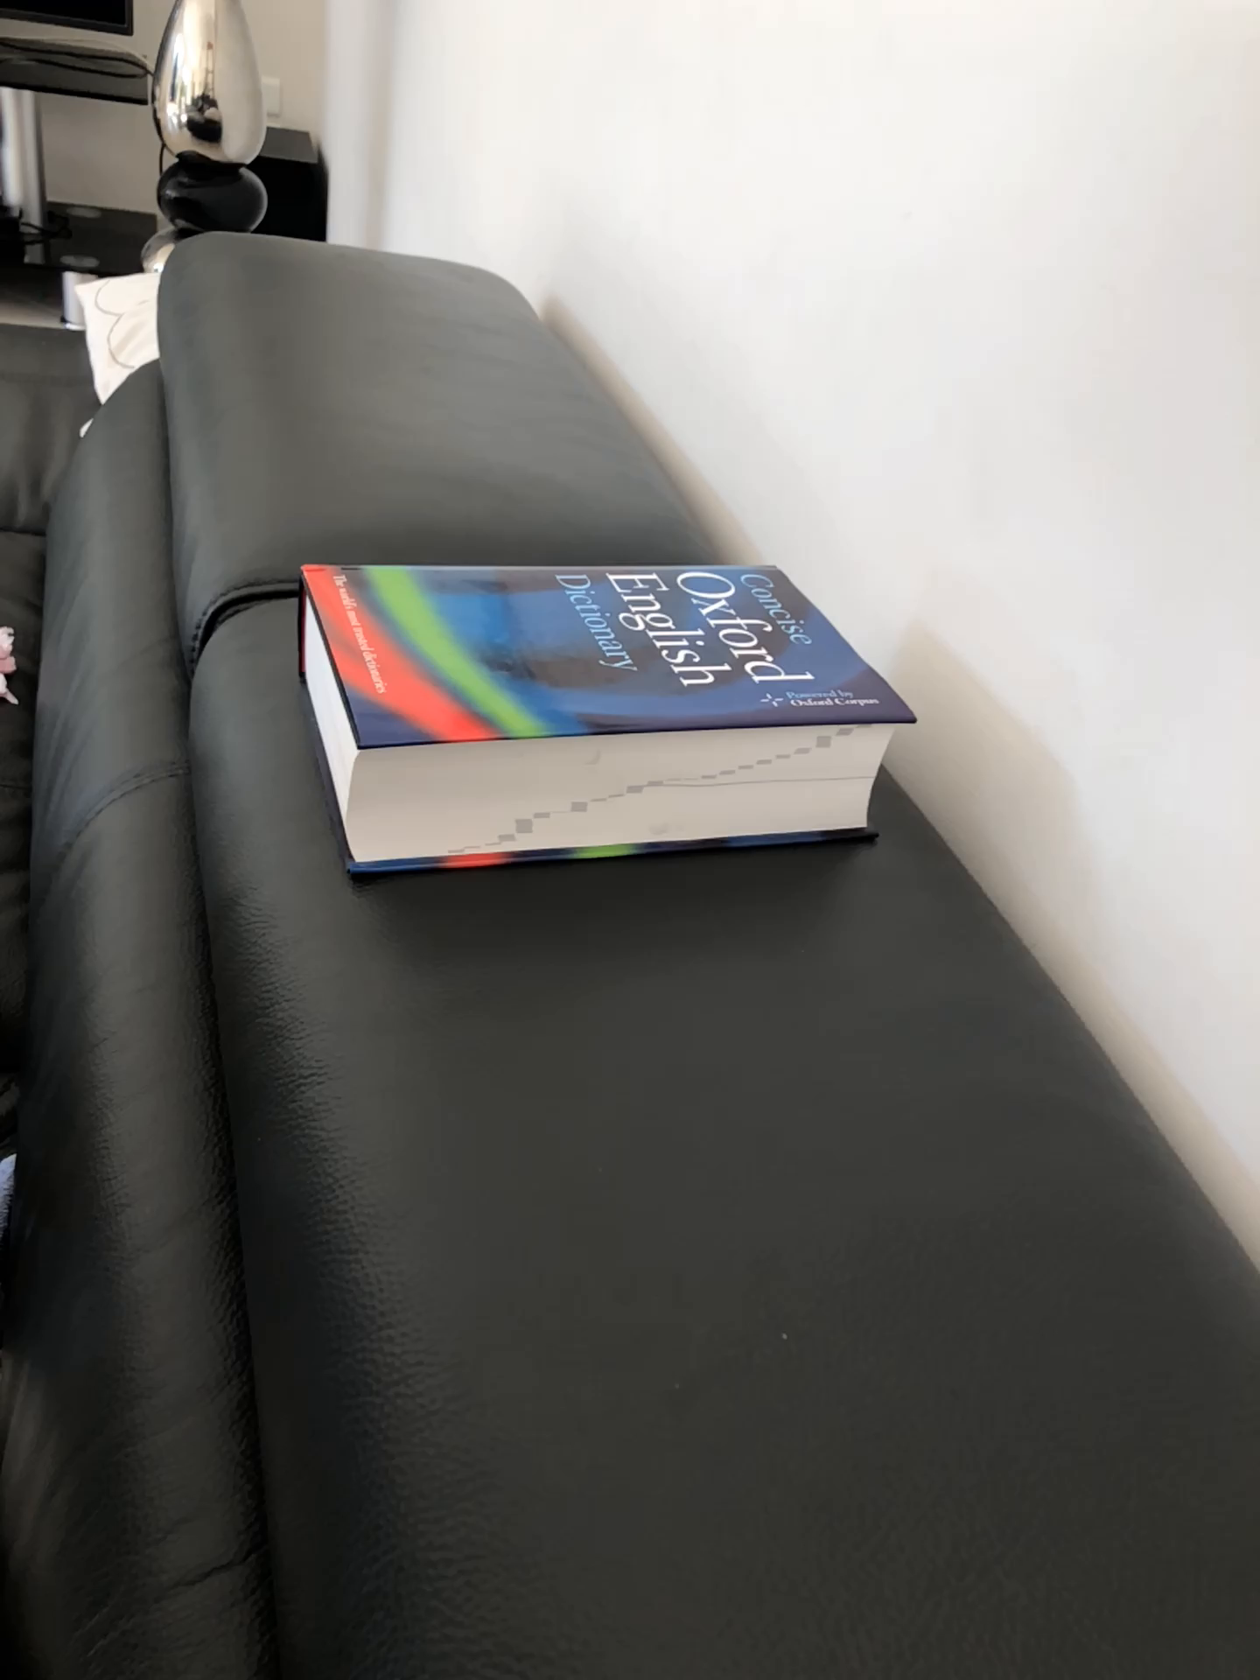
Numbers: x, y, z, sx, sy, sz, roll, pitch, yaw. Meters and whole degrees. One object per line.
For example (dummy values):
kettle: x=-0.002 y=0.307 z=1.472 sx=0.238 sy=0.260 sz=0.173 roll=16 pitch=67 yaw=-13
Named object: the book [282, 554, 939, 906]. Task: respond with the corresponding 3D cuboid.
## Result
book: x=-0.018 y=-0.060 z=0.628 sx=0.251 sy=0.070 sz=0.171 roll=-4 pitch=37 yaw=-21
